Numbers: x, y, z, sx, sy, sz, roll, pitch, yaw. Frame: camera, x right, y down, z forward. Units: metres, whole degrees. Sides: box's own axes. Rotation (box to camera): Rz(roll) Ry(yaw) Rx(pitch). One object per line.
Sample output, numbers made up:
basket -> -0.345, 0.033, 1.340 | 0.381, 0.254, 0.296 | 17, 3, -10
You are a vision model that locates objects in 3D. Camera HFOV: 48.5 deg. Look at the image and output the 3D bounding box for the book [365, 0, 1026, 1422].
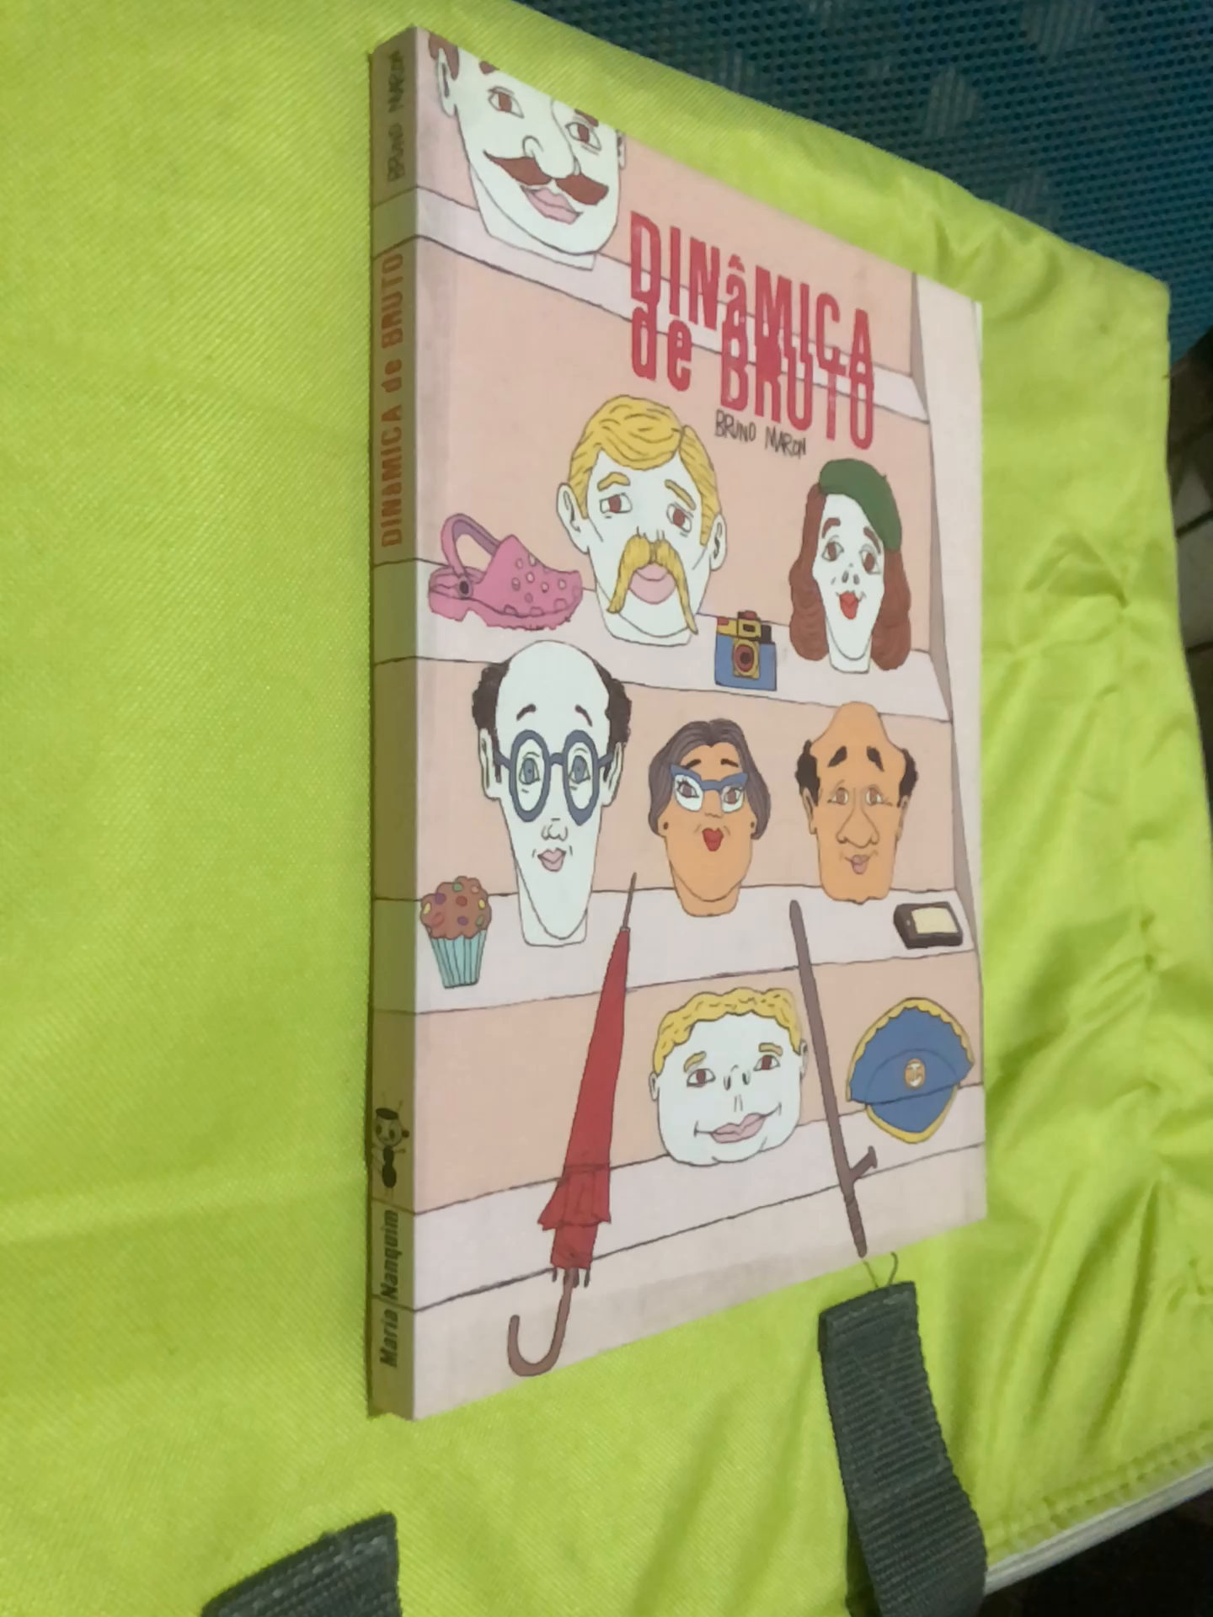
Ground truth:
book -> 0.031, -0.019, 0.290 | 0.179, 0.020, 0.239 | 1, 88, -42
